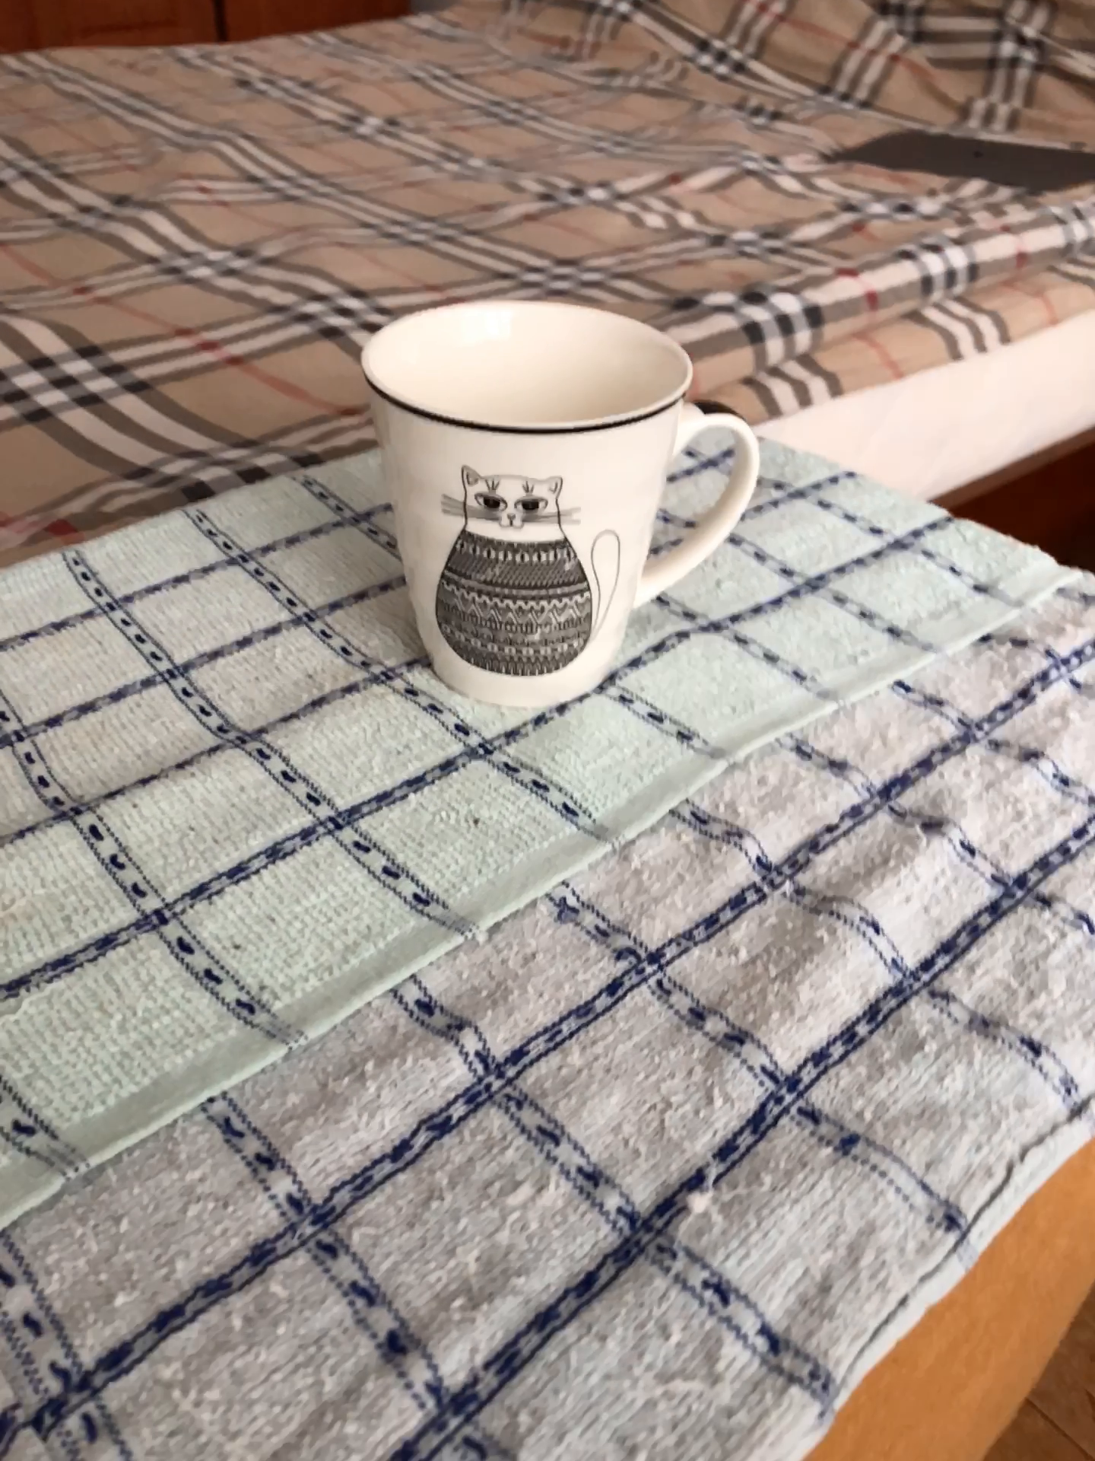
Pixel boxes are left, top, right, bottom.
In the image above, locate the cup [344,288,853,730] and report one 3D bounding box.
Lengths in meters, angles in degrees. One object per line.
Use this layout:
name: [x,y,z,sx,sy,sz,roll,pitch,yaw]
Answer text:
cup: [0.008,-0.070,0.362,0.123,0.090,0.091,-6,38,-11]
